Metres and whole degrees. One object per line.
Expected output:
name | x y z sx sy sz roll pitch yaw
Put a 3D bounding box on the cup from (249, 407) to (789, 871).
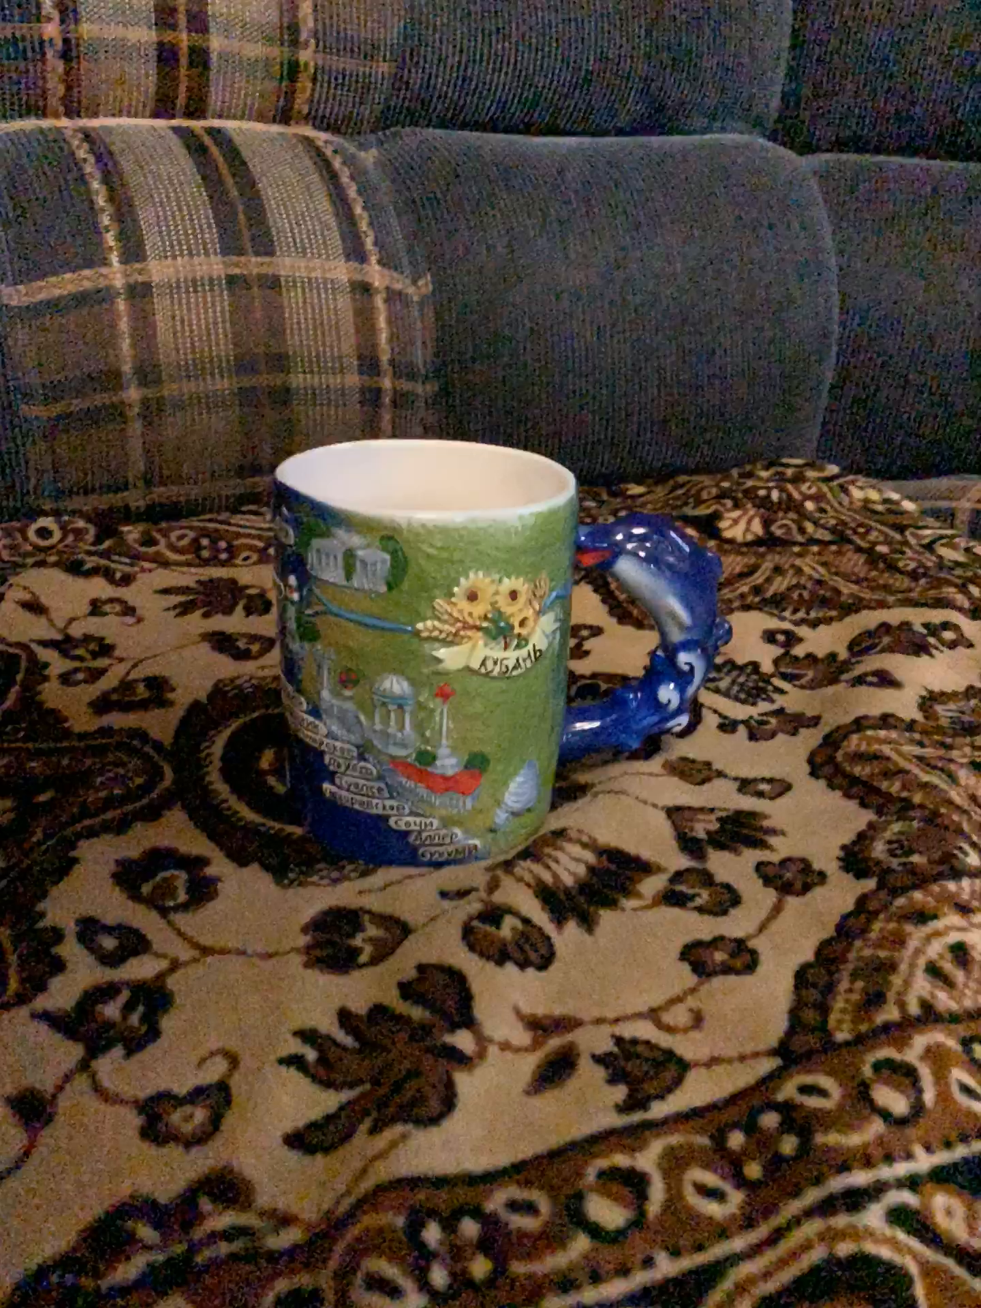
cup | 0.002 -0.009 0.299 0.127 0.105 0.090 0 25 -6
